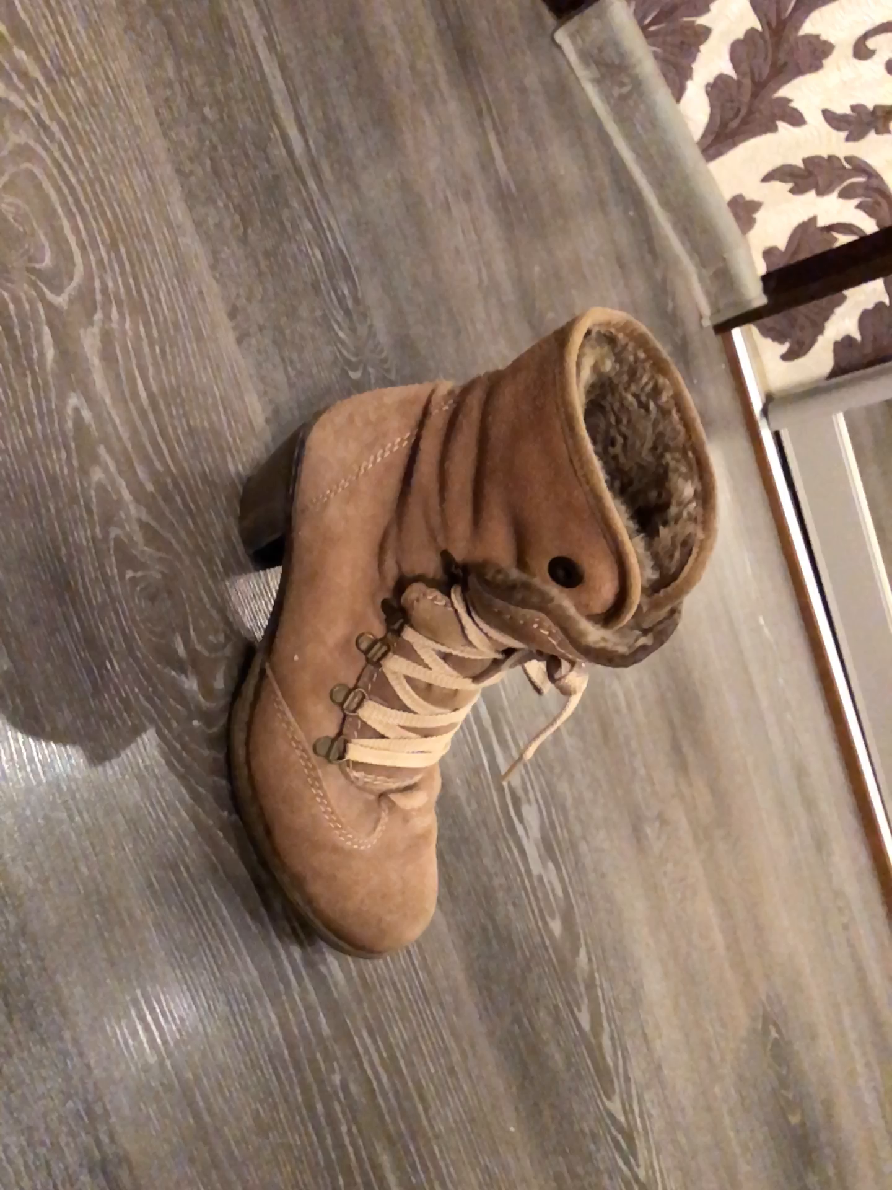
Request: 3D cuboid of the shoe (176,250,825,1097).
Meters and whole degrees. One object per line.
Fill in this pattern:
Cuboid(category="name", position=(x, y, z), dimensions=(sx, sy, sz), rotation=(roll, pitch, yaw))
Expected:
Cuboid(category="shoe", position=(0.011, 0.032, 0.375), dimensions=(0.101, 0.189, 0.240), rotation=(-4, 83, -50))
